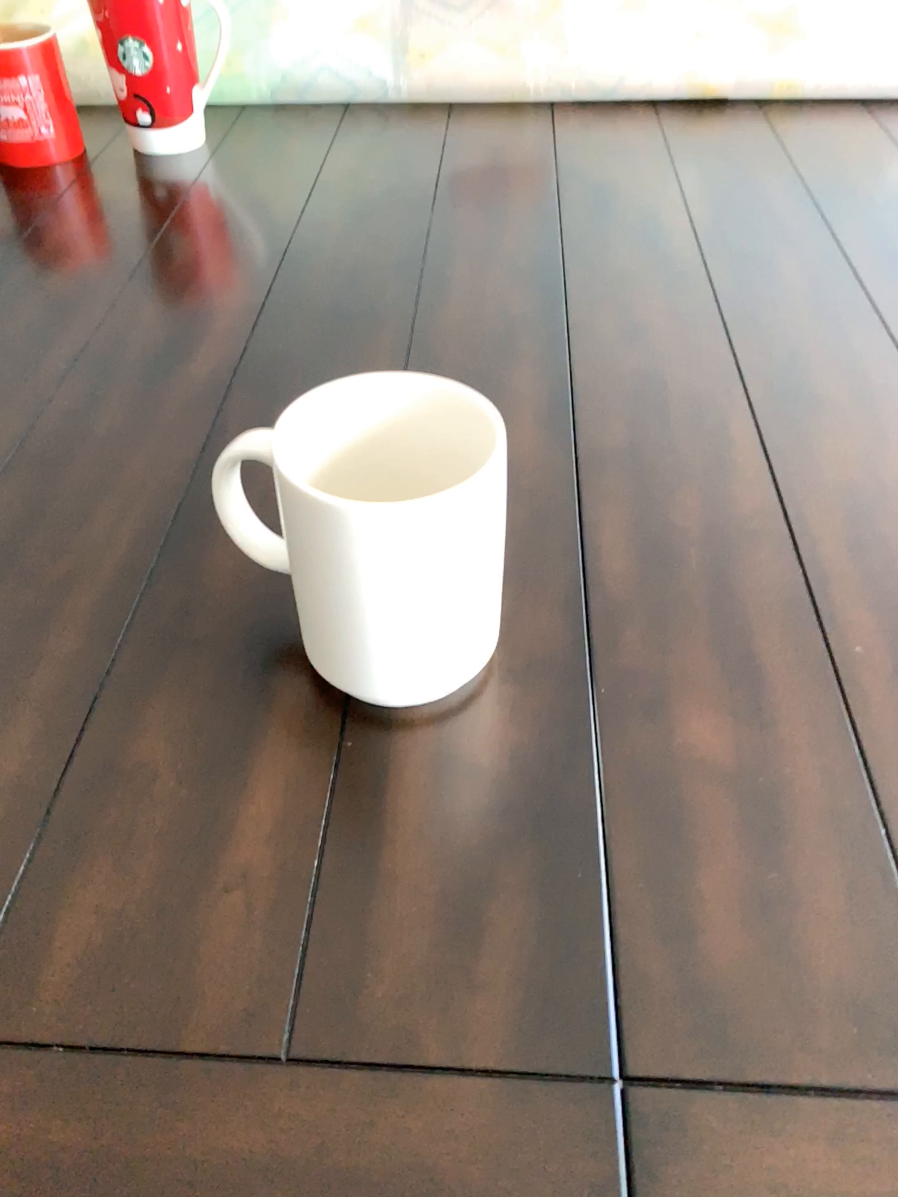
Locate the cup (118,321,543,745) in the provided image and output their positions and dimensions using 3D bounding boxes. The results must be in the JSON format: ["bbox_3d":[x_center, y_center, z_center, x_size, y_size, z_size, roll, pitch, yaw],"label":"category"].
[{"bbox_3d":[-0.042,-0.029,0.370,0.130,0.110,0.080,21,48,21],"label":"cup"}]
